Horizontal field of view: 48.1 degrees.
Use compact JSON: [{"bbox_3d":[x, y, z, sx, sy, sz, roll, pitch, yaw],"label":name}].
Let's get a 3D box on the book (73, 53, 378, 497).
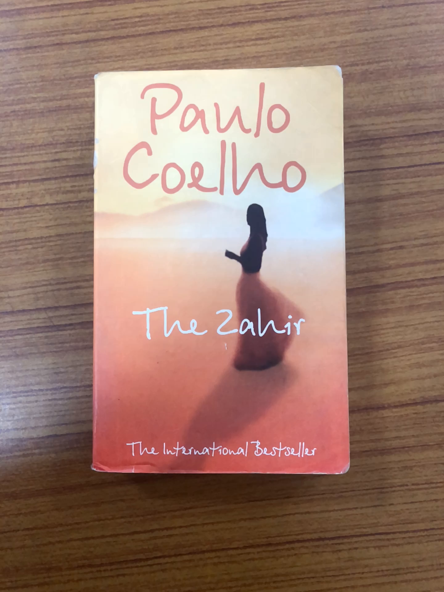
[{"bbox_3d":[0.003,-0.010,0.225,0.120,0.040,0.180,2,86,0],"label":"book"}]
